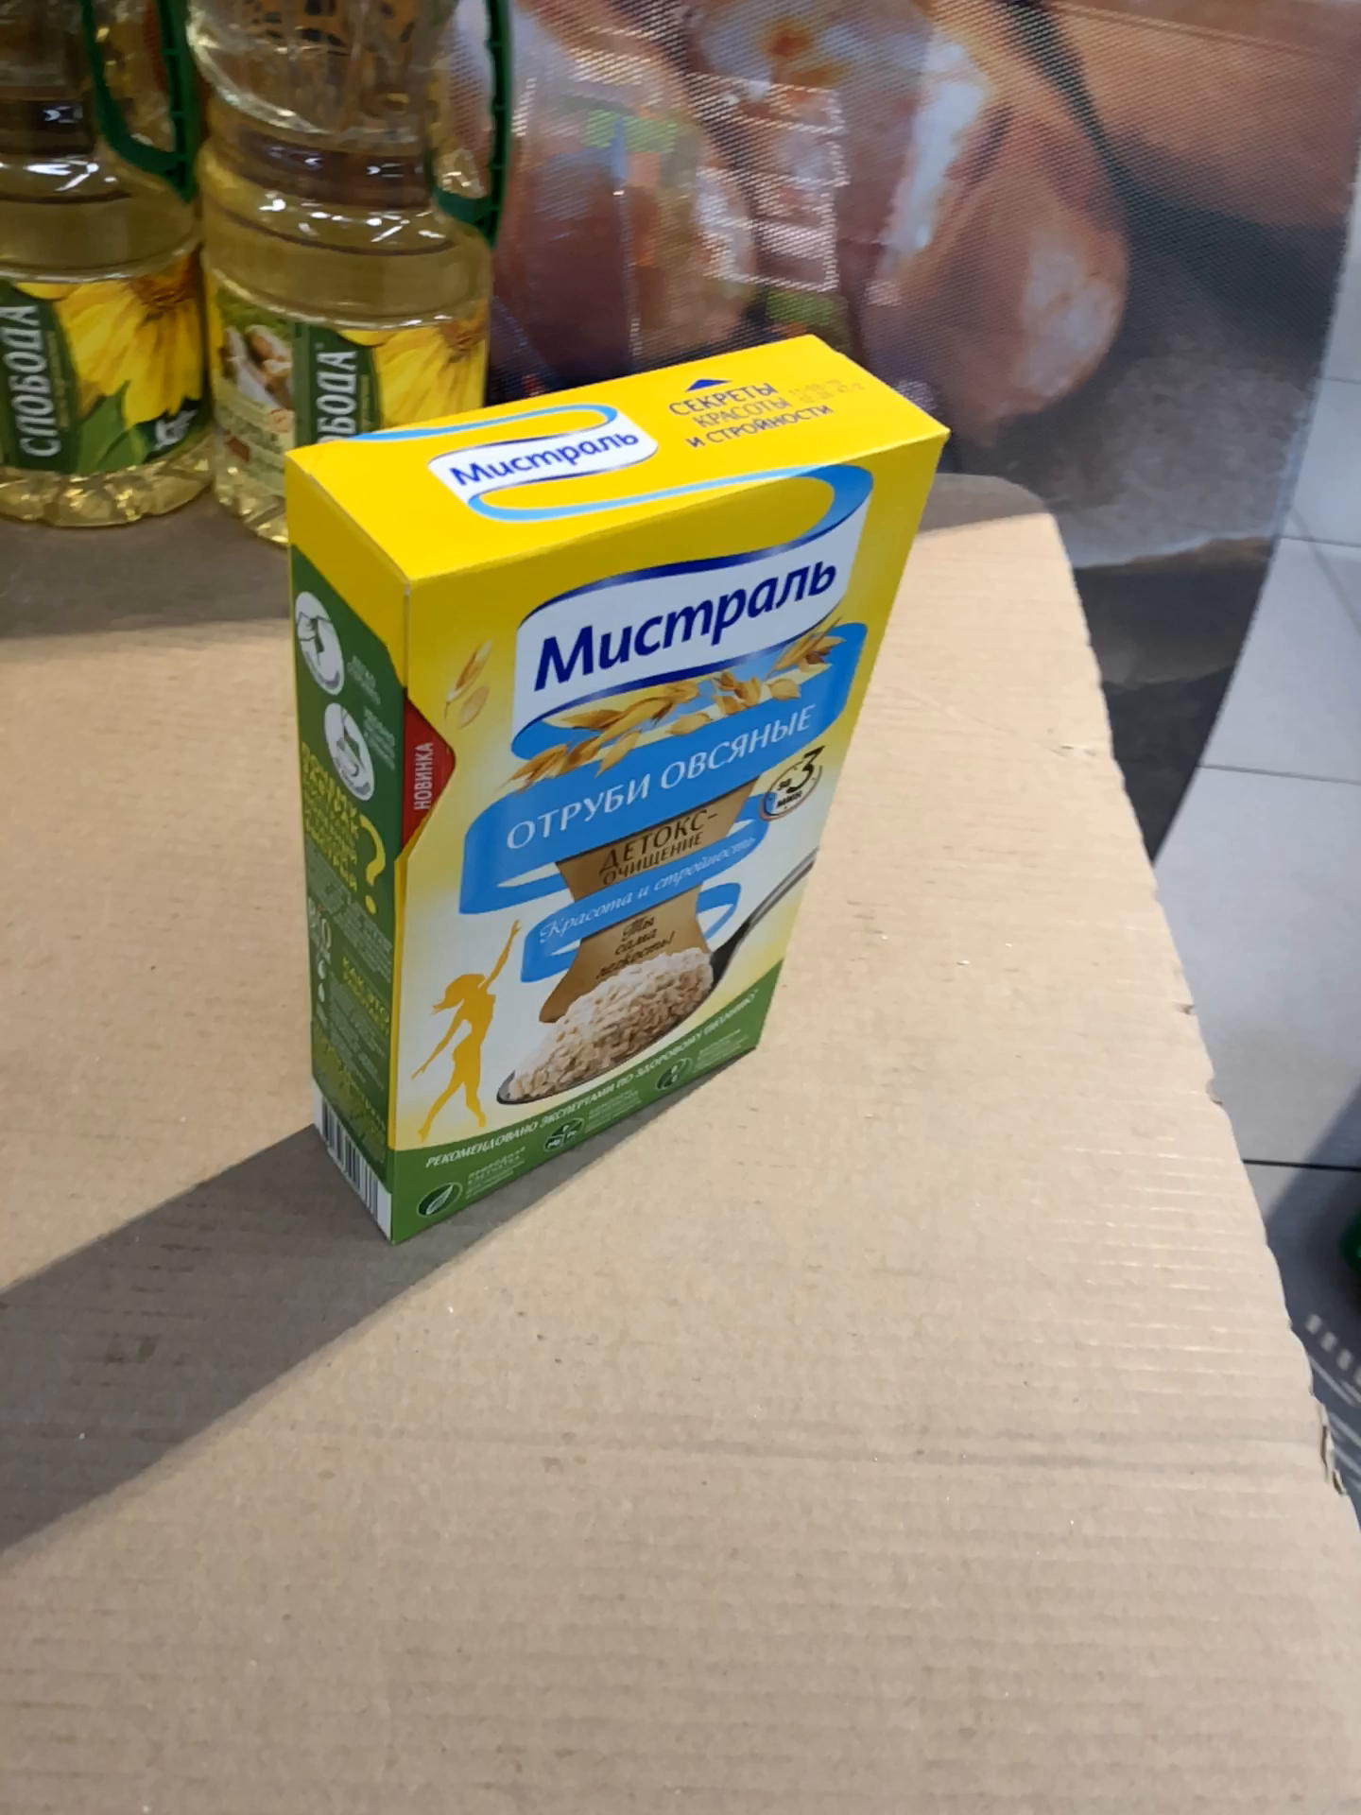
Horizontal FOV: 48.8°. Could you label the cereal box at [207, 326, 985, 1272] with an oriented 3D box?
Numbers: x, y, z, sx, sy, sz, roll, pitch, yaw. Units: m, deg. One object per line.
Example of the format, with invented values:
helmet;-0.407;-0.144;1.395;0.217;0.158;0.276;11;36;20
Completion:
cereal box;-0.024;-0.018;0.367;0.150;0.209;0.050;-24;56;-29
